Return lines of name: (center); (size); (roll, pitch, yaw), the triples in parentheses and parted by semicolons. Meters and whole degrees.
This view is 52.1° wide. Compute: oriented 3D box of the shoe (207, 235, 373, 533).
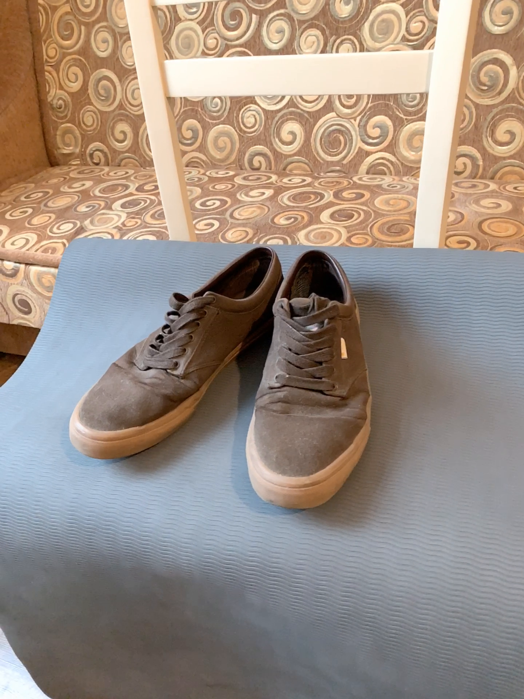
shoe: (0.047, 0.005, 0.514); (0.110, 0.080, 0.321); (1, 40, 12)

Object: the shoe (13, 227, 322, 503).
shoe: (-0.073, -0.010, 0.572); (0.110, 0.080, 0.341); (20, 47, 31)
